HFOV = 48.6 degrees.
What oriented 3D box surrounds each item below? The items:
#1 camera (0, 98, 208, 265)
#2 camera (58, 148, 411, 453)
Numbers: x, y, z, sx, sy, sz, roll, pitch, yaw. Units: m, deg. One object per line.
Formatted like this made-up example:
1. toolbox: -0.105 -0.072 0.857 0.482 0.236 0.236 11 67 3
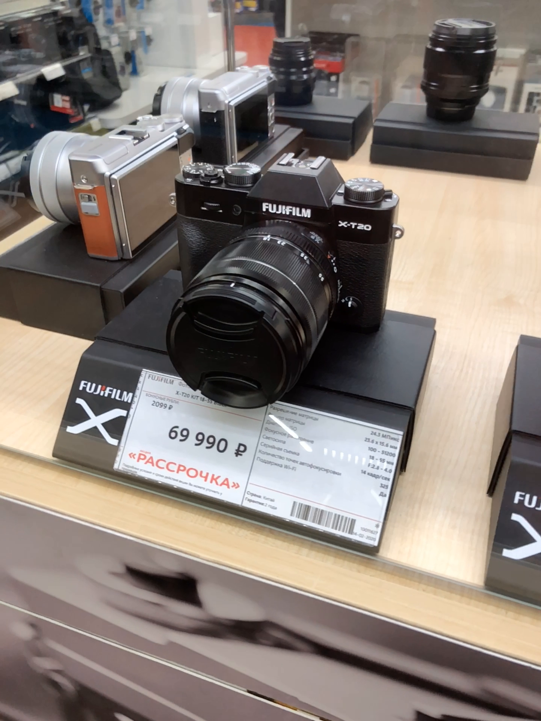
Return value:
1. camera: -0.103 -0.124 0.399 0.074 0.063 0.122 12 38 16
2. camera: -0.008 -0.041 0.303 0.122 0.080 0.131 14 38 17
